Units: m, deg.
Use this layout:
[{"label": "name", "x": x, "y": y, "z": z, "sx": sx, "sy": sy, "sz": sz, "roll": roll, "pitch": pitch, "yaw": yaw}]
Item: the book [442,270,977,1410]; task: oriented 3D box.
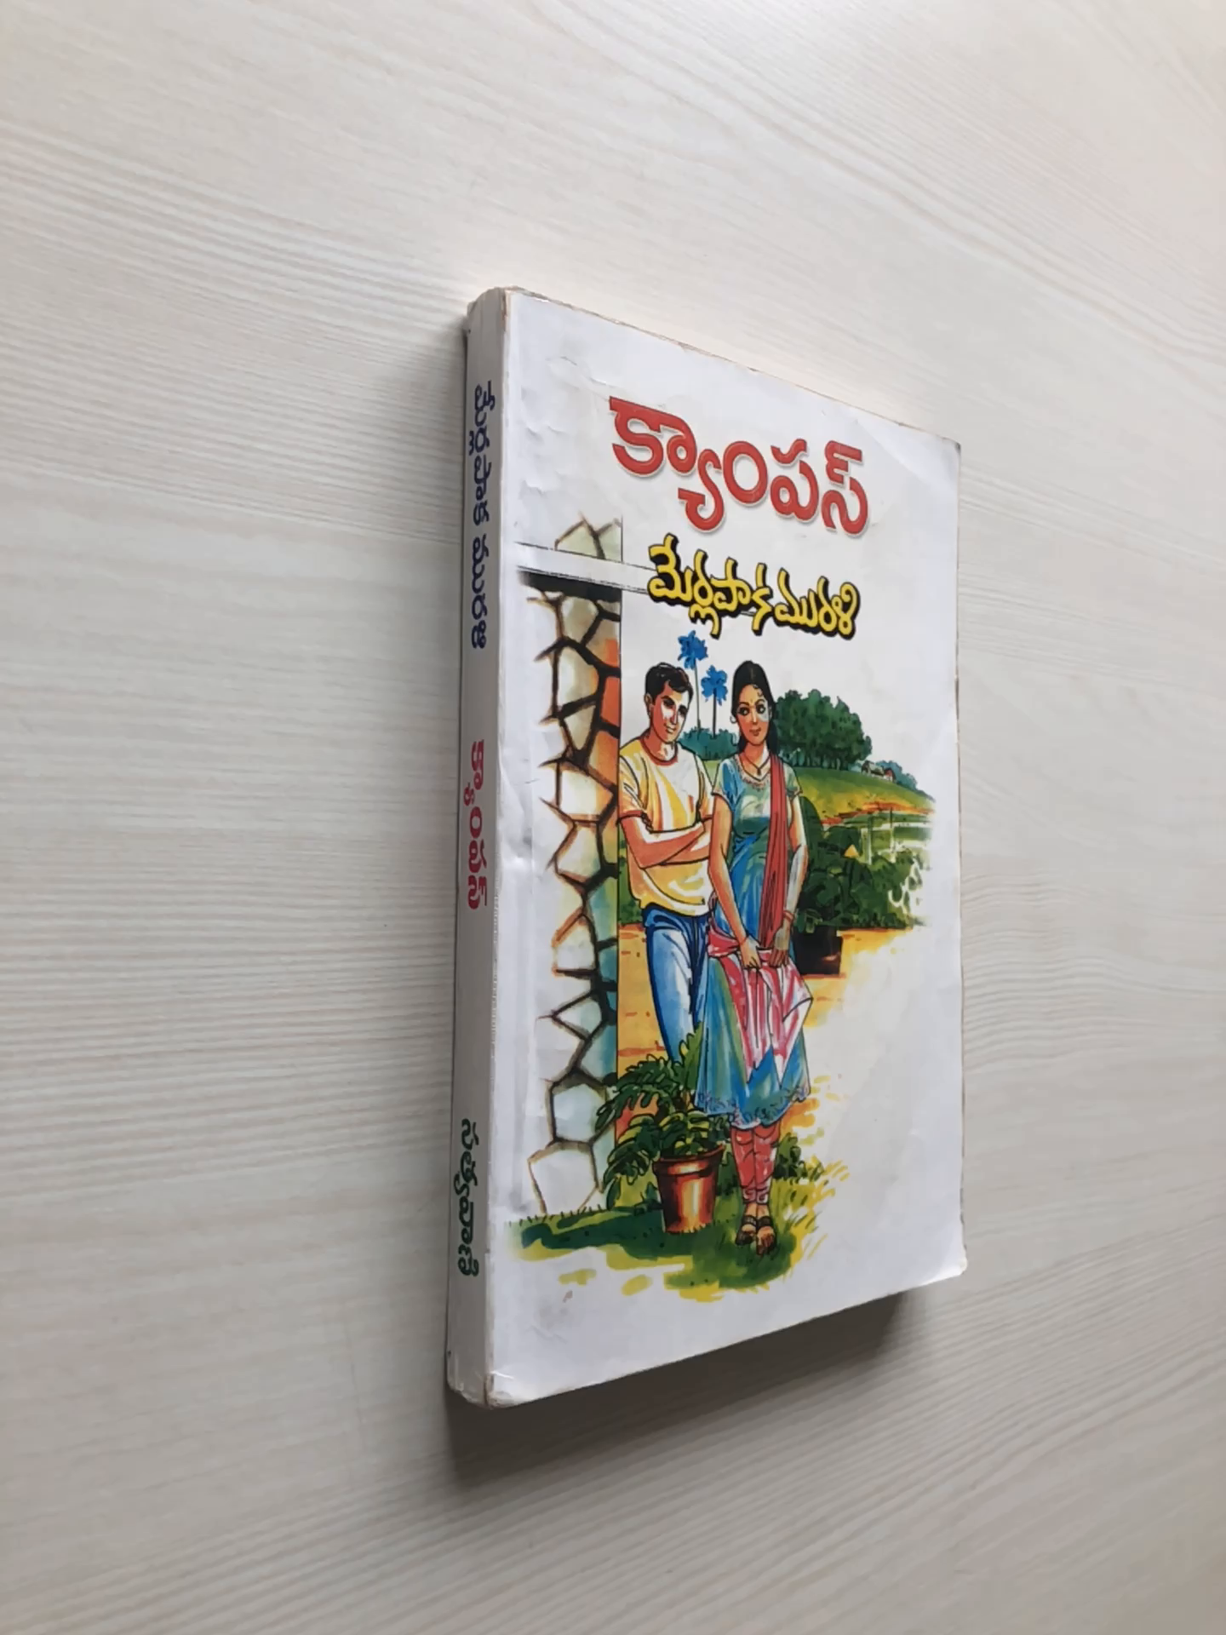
[{"label": "book", "x": 0.024, "y": 0.004, "z": 0.239, "sx": 0.113, "sy": 0.016, "sz": 0.163, "roll": 3, "pitch": 87, "yaw": -41}]
